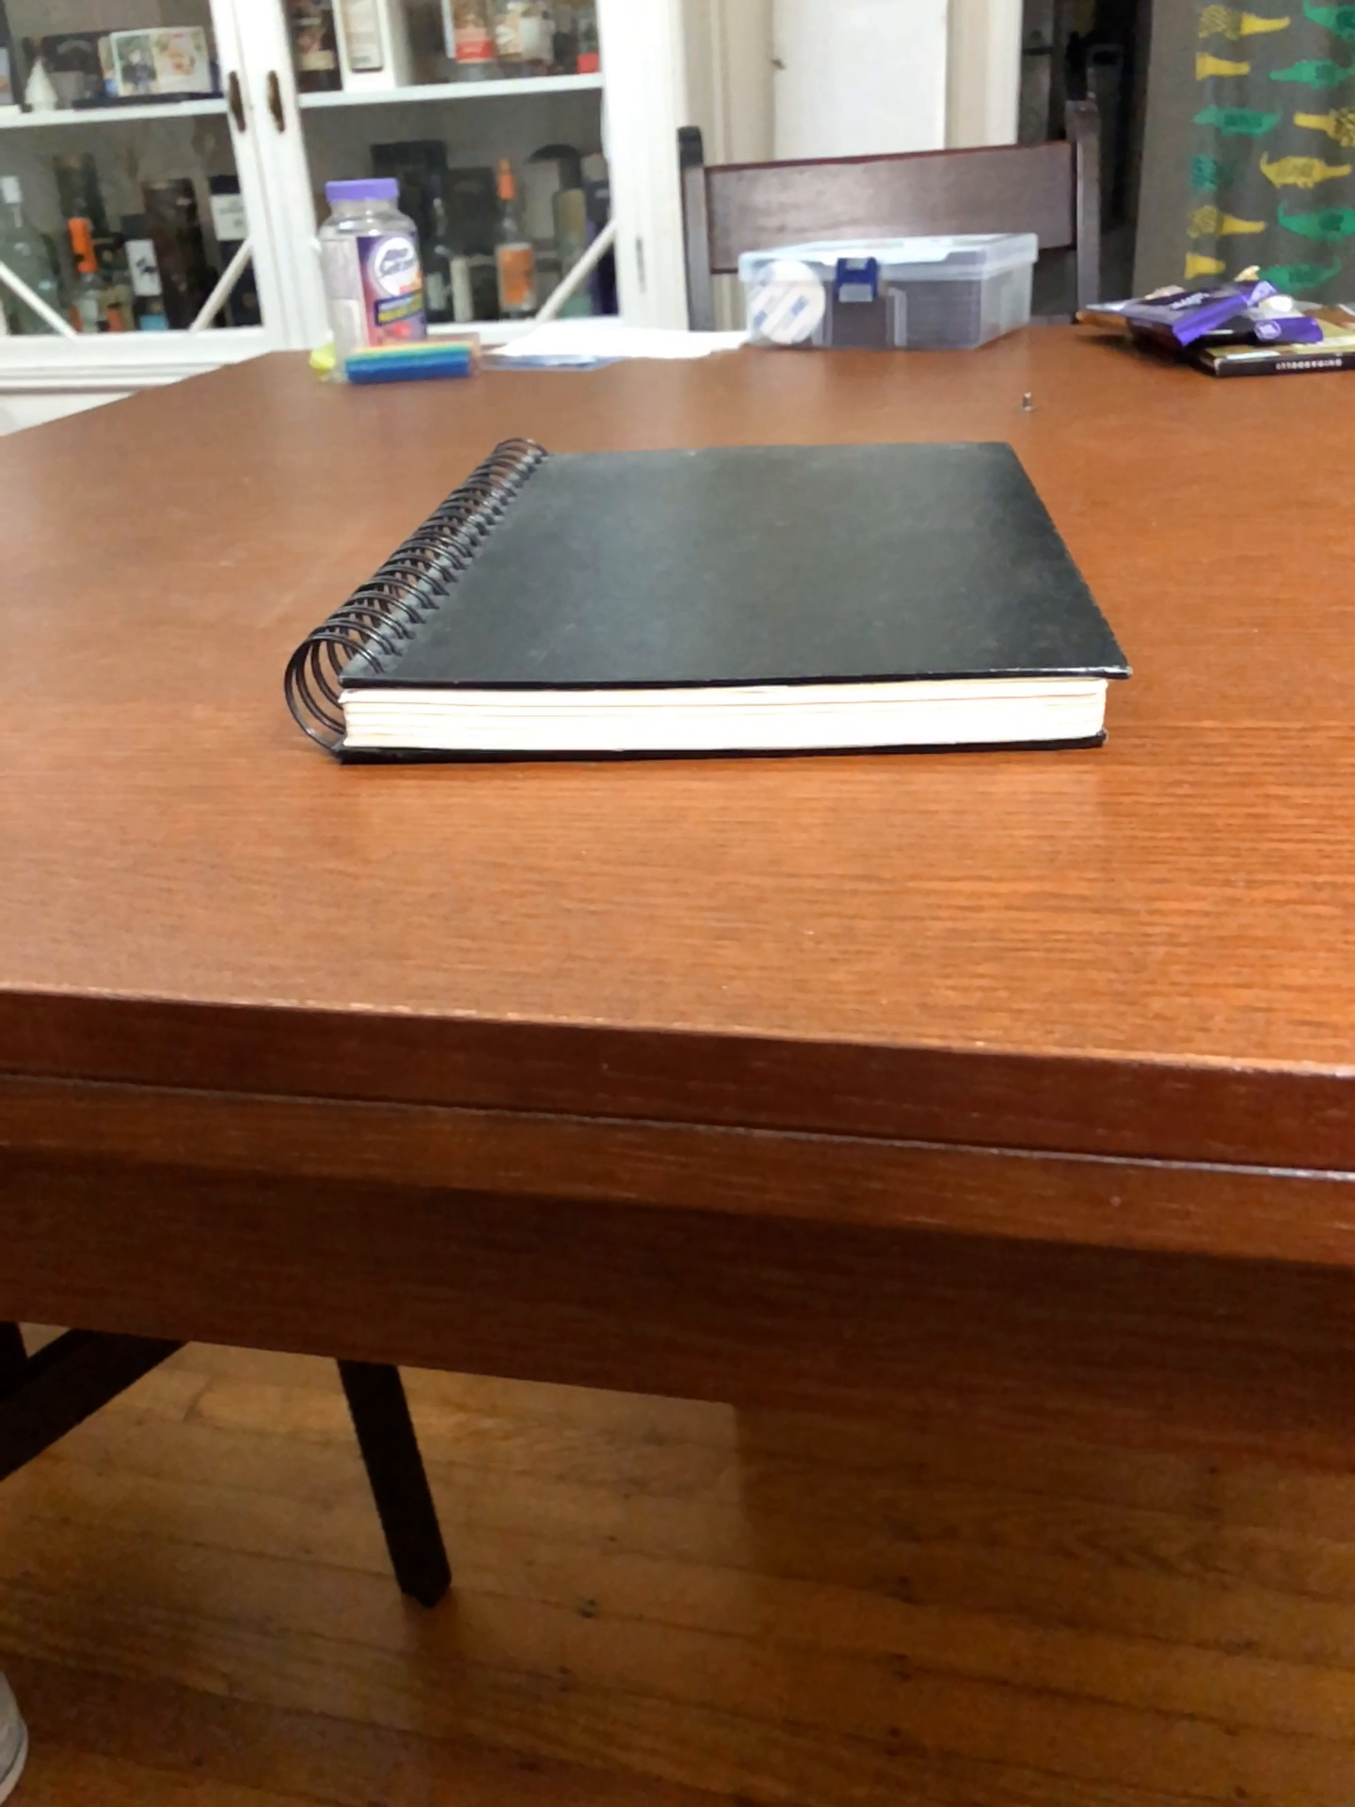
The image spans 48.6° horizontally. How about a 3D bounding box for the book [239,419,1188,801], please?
[{"bbox_3d":[0.016,-0.098,0.438,0.200,0.030,0.261,-1,27,6],"label":"book"}]
